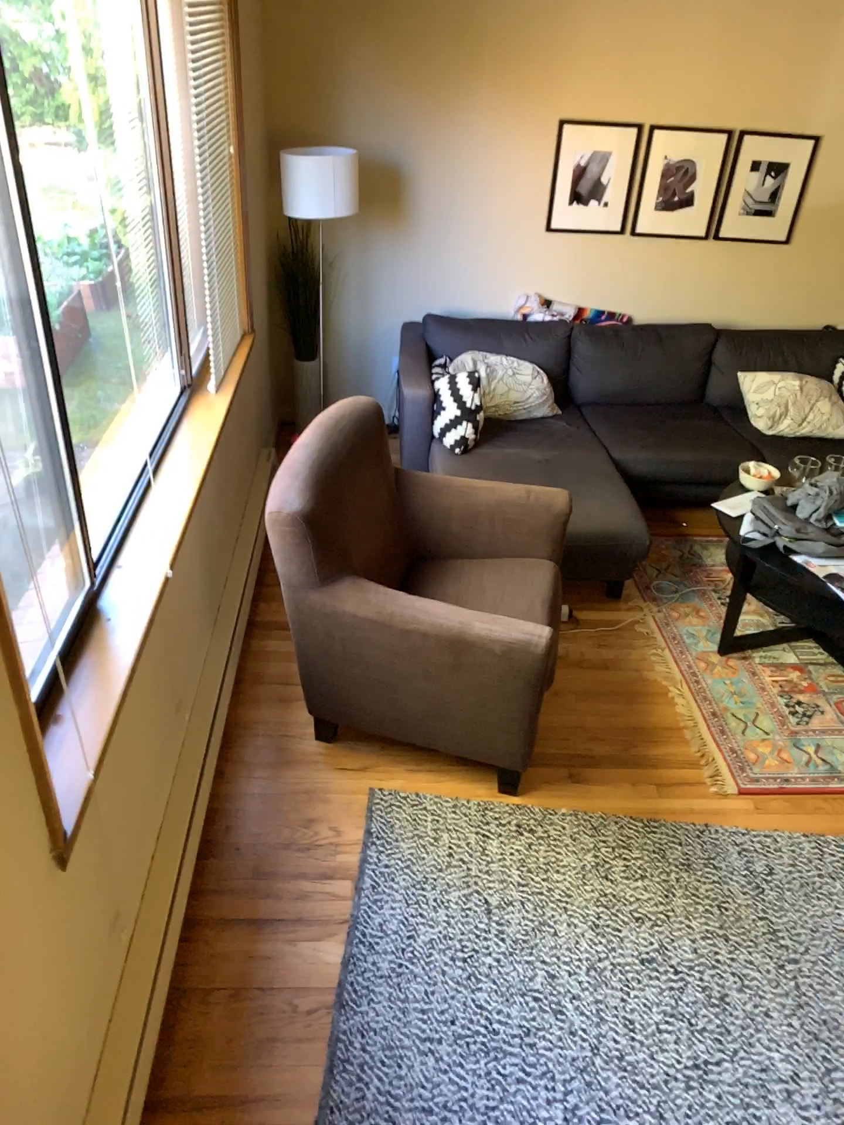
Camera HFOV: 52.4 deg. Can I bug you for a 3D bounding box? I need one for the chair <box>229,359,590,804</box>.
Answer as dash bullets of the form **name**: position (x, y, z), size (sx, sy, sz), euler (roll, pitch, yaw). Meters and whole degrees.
- **chair**: position (0.029, 0.005, 2.506), size (0.800, 0.875, 0.885), euler (6, 33, 9)
